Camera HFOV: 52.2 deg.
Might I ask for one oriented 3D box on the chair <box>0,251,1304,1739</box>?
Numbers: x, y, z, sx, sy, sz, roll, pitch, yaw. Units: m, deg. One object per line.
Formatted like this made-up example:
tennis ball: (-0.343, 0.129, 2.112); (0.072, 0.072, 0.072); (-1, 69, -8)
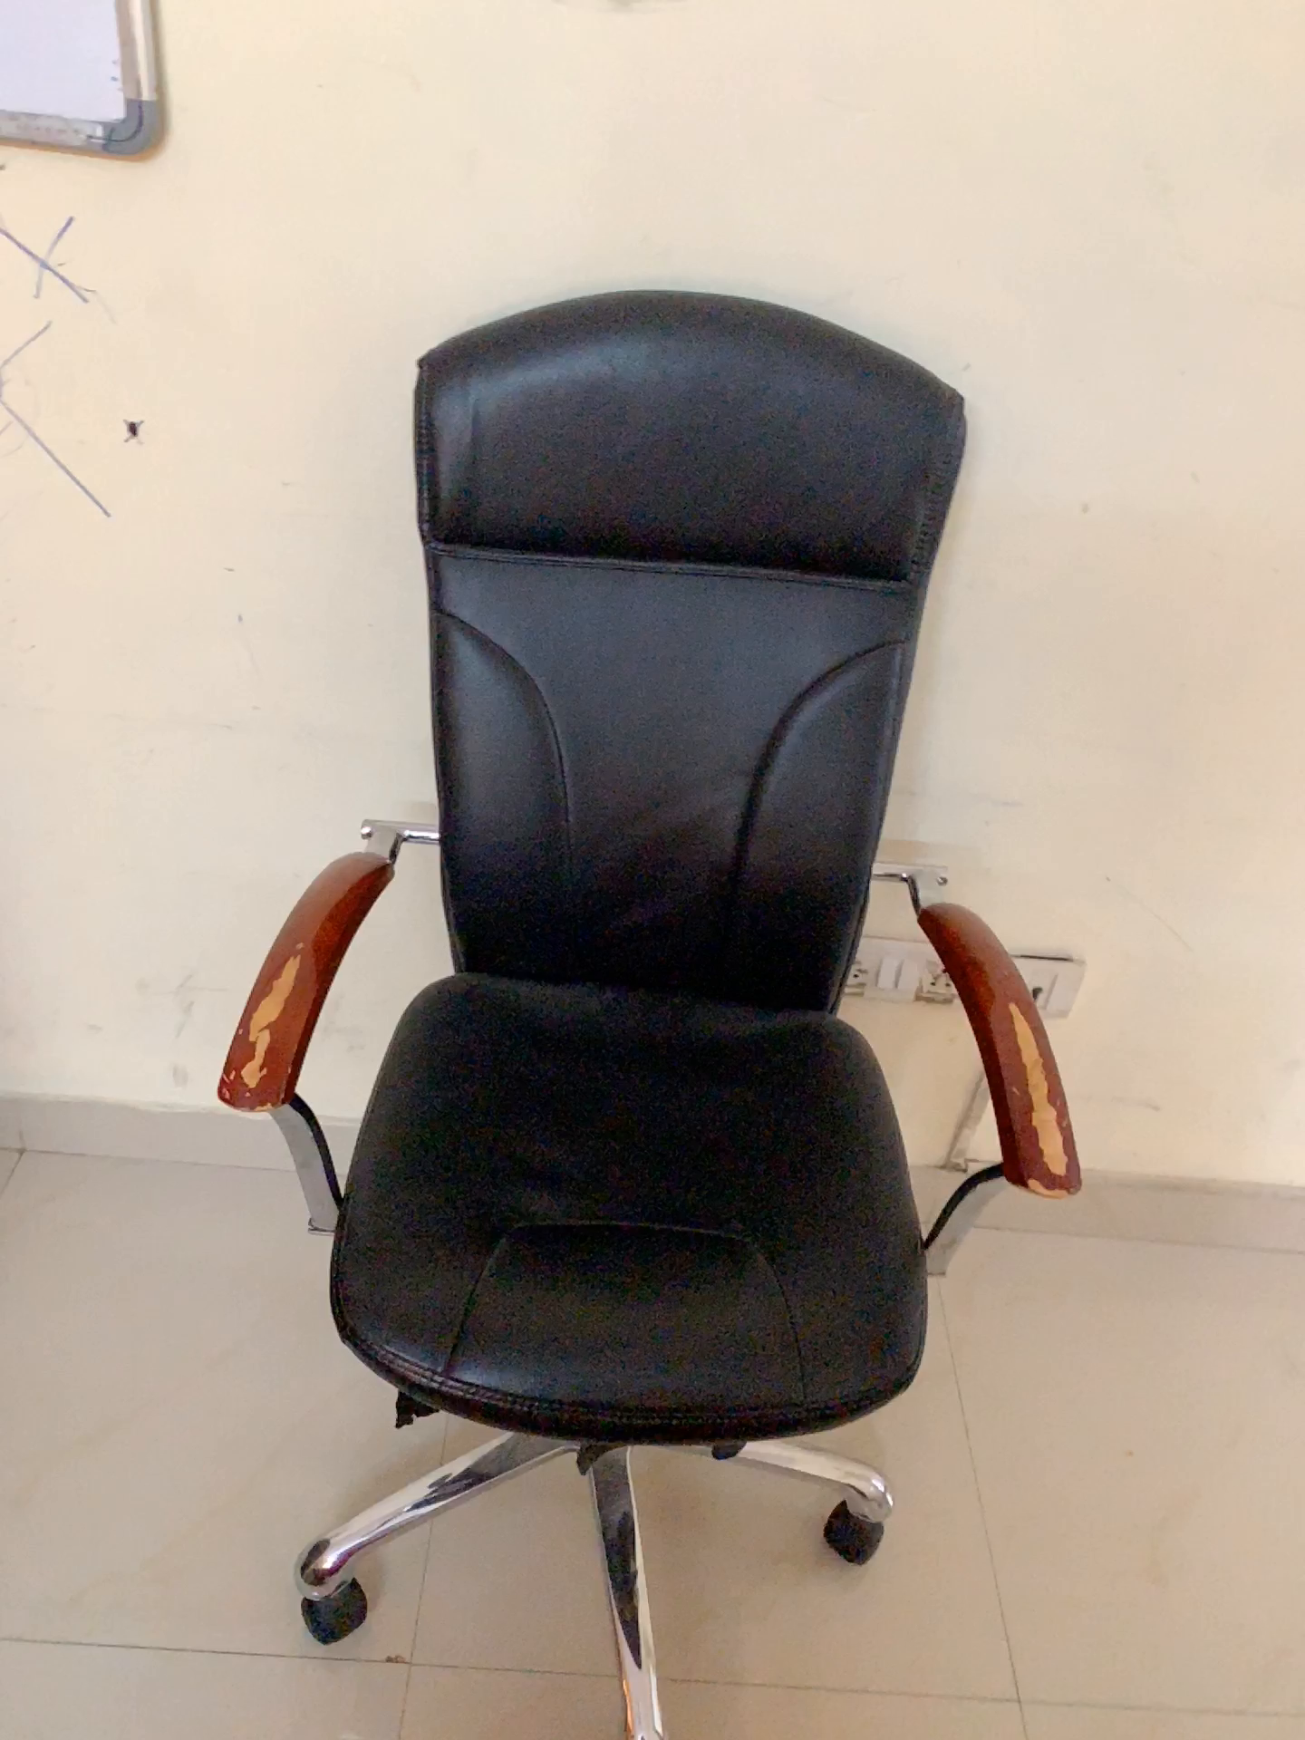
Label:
chair: (0.004, 0.168, 1.140); (0.700, 1.081, 0.757); (6, 35, -2)
